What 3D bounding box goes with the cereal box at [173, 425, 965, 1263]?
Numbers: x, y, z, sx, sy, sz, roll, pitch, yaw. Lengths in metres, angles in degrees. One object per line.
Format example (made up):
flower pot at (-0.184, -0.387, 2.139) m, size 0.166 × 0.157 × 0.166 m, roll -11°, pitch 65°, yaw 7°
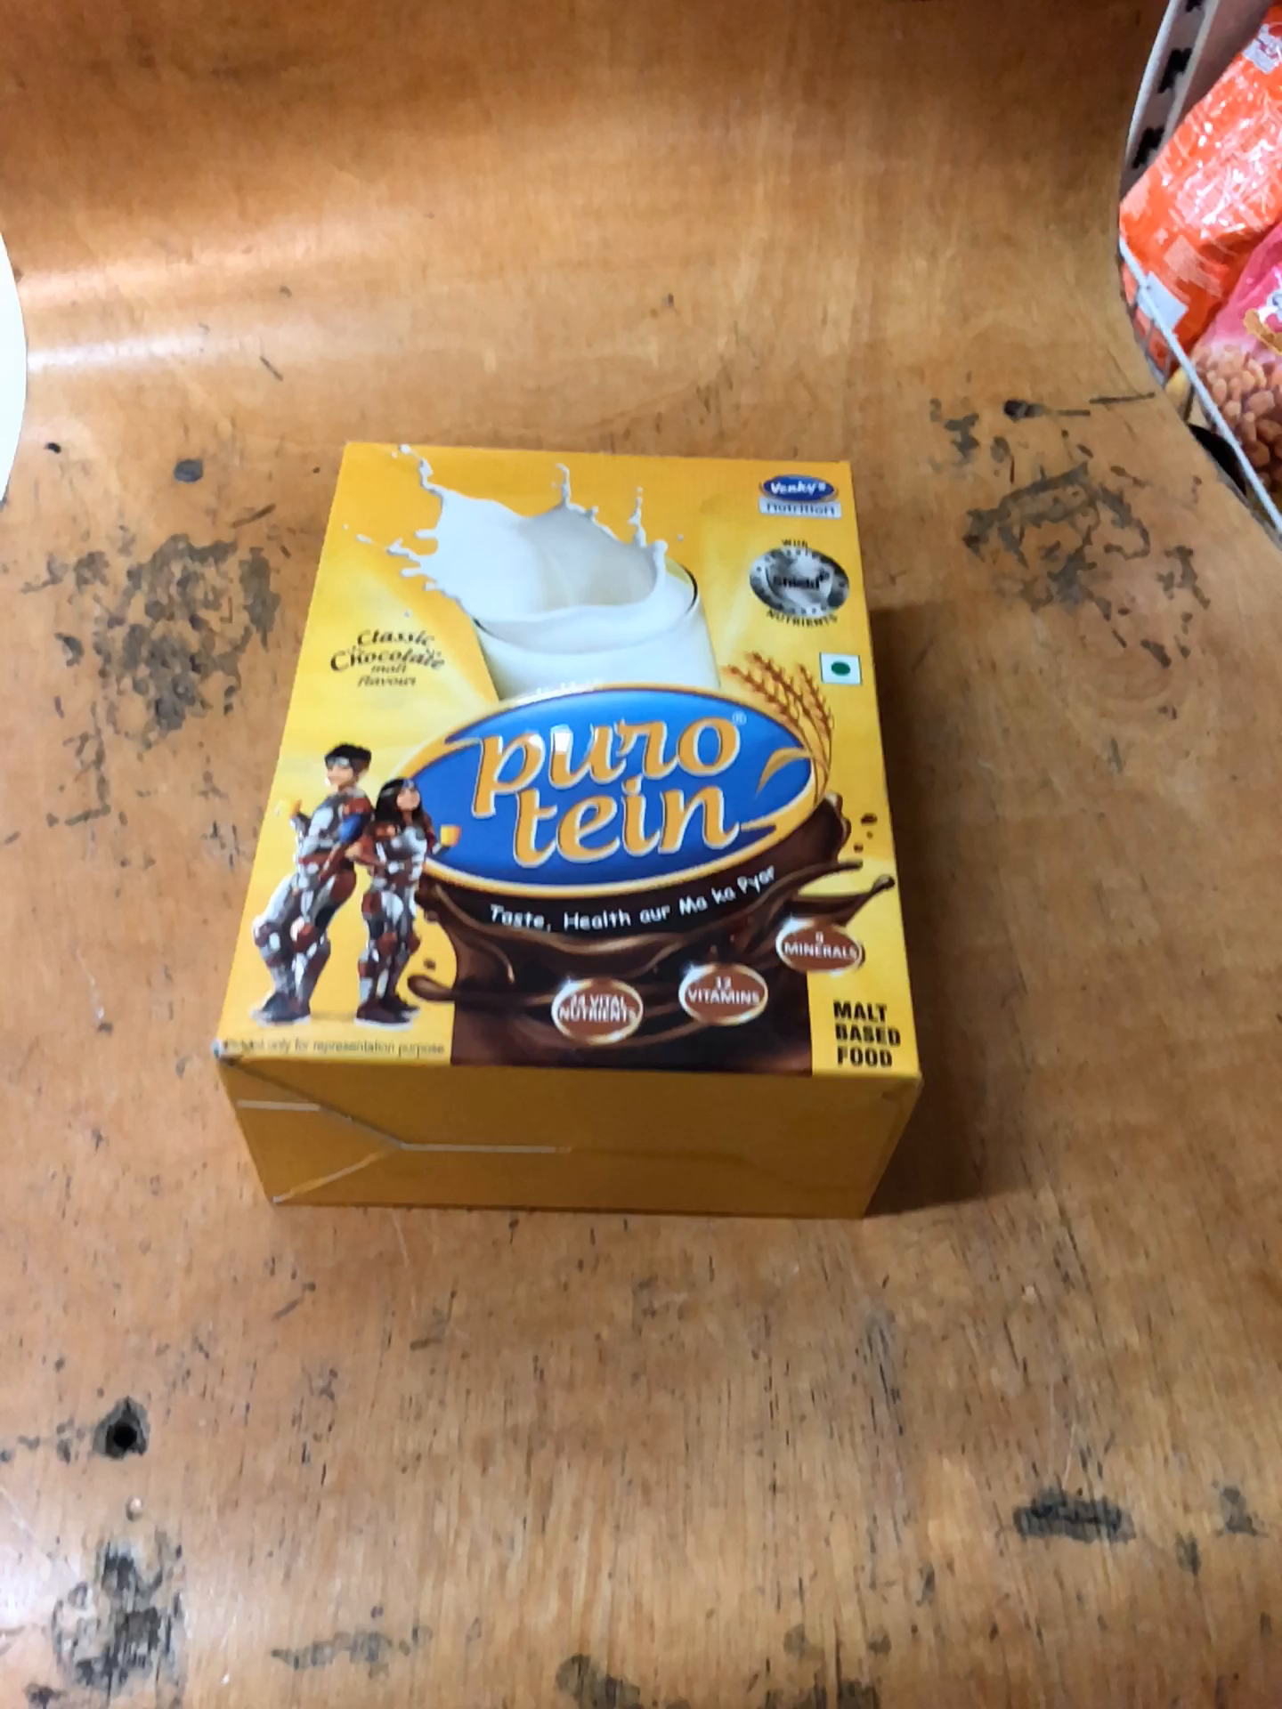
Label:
cereal box at (-0.014, -0.008, 0.337) m, size 0.140 × 0.080 × 0.181 m, roll 2°, pitch 54°, yaw -2°
